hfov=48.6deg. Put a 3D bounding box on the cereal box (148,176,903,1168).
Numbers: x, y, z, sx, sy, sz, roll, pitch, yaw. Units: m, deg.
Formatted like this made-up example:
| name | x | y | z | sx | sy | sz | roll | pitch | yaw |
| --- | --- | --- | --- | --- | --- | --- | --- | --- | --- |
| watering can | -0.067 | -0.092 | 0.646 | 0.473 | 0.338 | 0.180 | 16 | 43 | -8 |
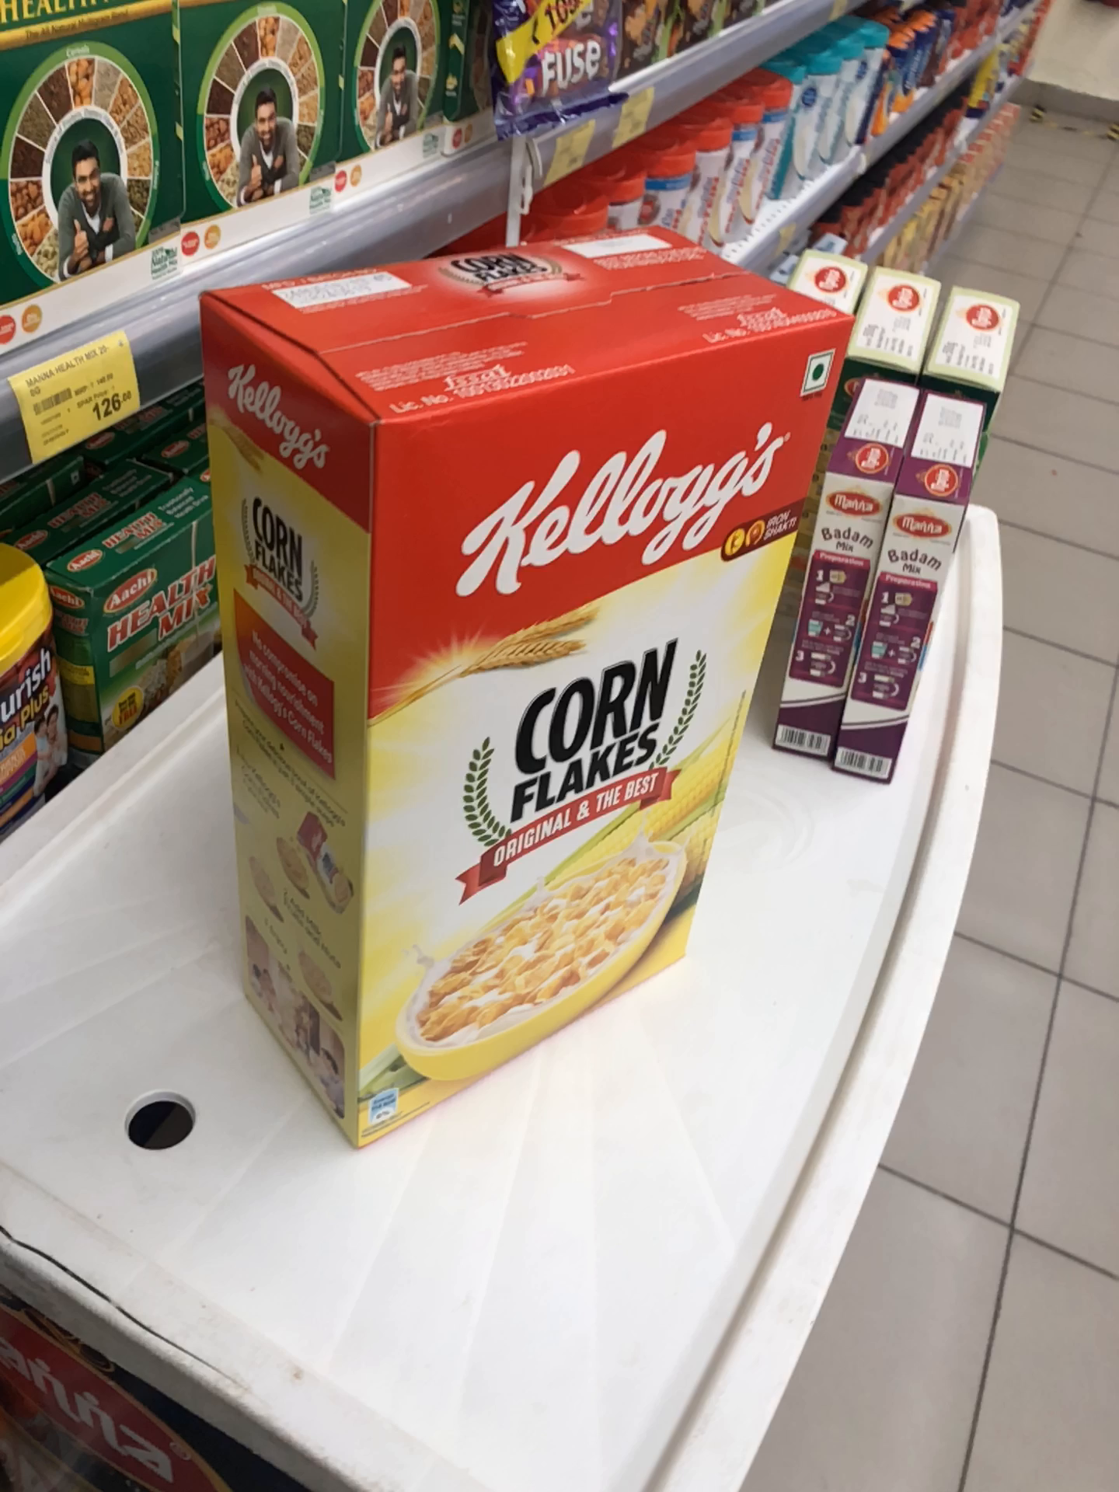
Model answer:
| name | x | y | z | sx | sy | sz | roll | pitch | yaw |
| --- | --- | --- | --- | --- | --- | --- | --- | --- | --- |
| cereal box | -0.022 | -0.019 | 0.475 | 0.200 | 0.329 | 0.110 | -23 | 49 | -32 |
